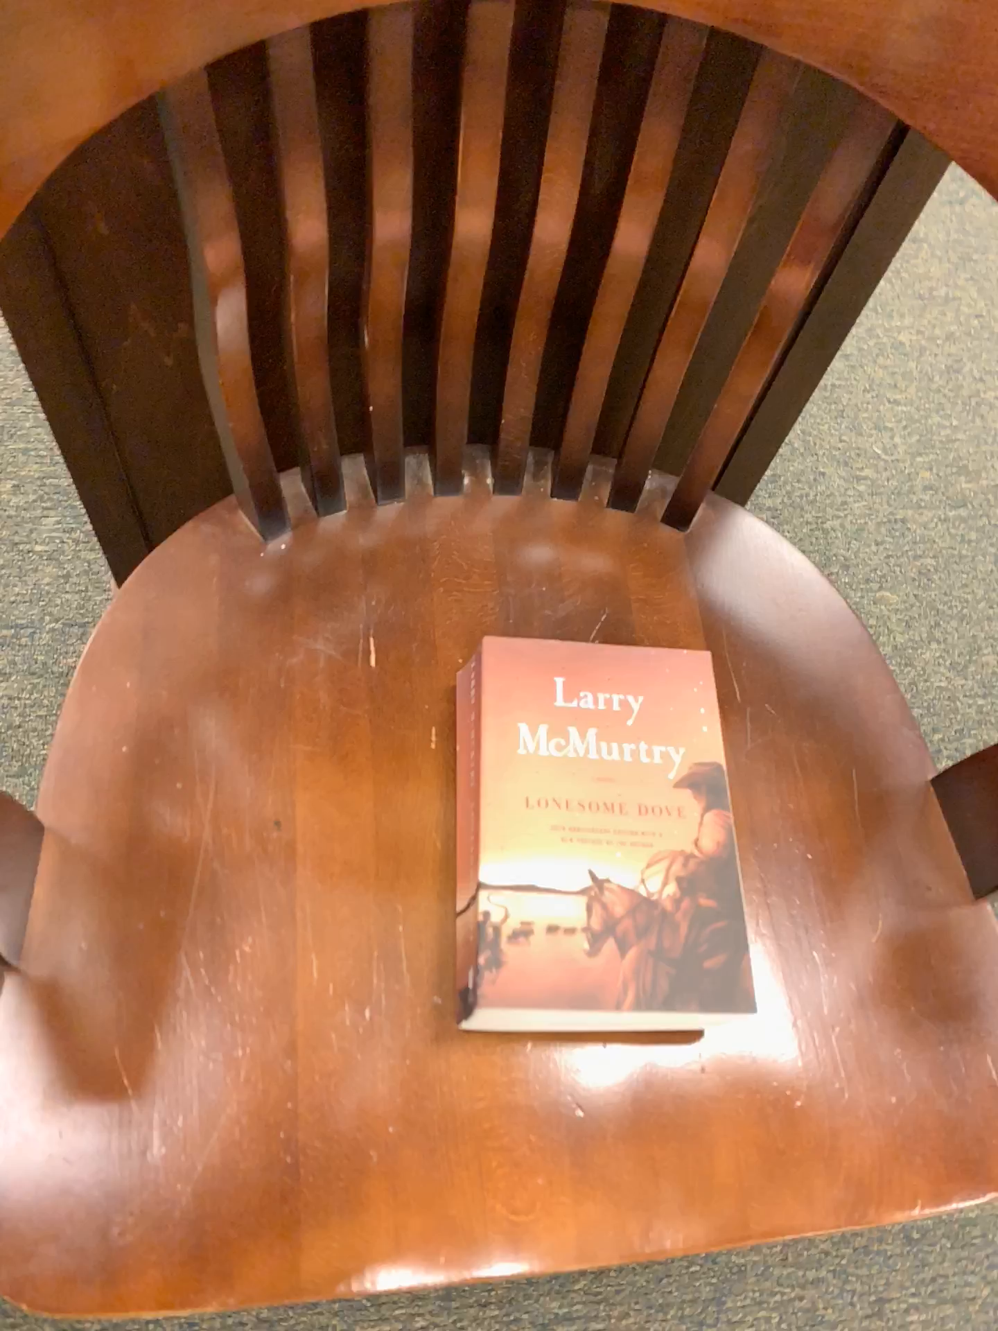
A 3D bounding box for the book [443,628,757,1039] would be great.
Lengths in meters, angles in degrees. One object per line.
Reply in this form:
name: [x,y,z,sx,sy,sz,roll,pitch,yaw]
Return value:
book: [0.044,0.085,0.533,0.140,0.060,0.200,3,59,-6]
